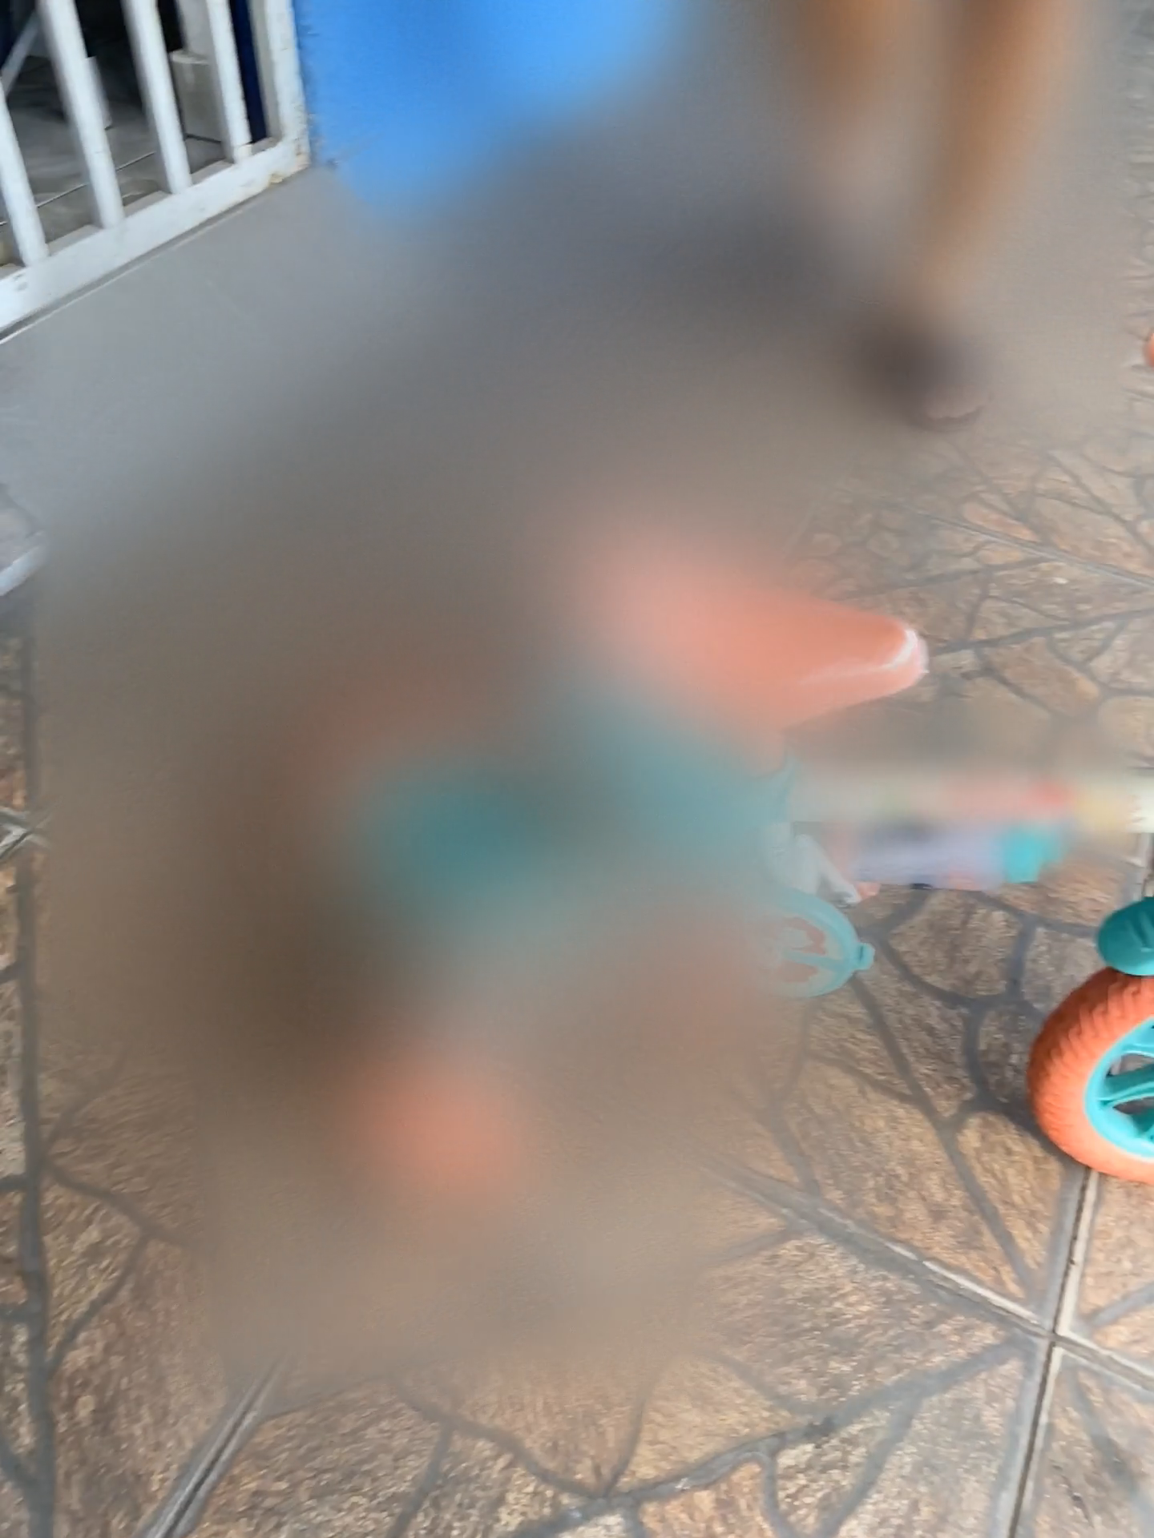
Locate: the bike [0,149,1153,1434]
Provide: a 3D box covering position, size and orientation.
[{"bbox_3d":[0.208,-0.005,0.770,0.806,0.534,0.501,9,46,9],"label":"bike"}]
